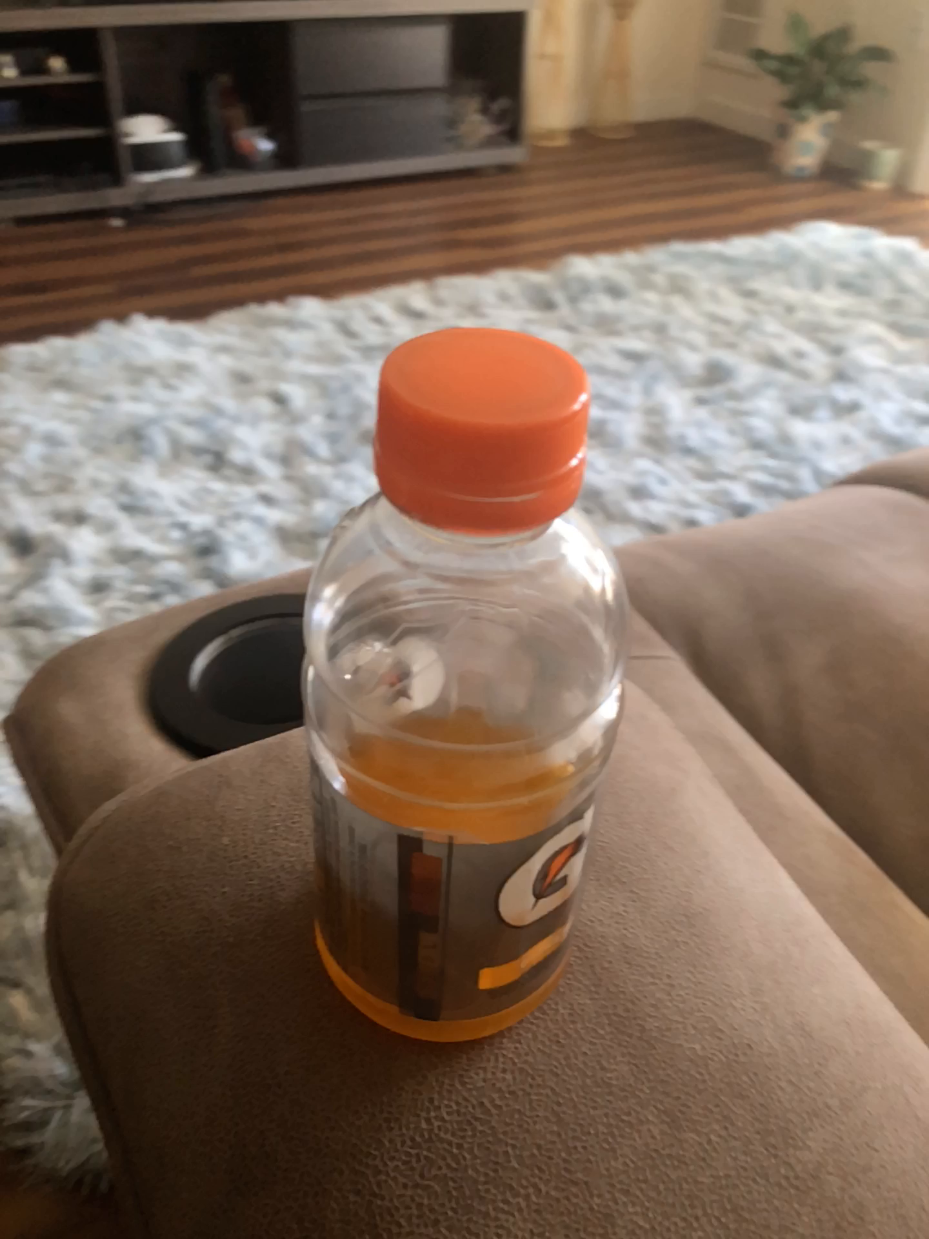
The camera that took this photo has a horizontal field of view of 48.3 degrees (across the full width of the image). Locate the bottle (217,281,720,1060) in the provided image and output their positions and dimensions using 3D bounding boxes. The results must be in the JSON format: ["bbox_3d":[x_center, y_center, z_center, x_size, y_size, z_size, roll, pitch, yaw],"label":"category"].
[{"bbox_3d":[-0.004,0.016,0.216,0.070,0.149,0.070,2,36,-1],"label":"bottle"}]
